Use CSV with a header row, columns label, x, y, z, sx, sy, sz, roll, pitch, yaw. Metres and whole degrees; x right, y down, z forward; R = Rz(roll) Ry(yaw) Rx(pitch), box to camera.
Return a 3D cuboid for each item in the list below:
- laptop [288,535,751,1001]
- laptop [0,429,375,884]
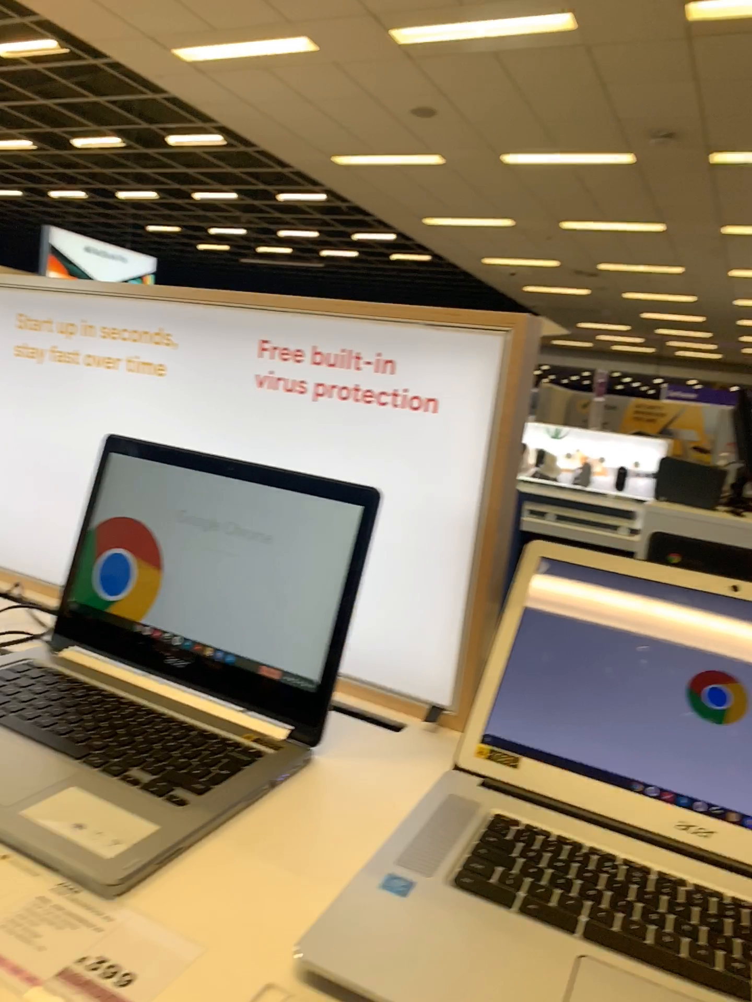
label,x,y,z,sx,sy,sz,roll,pitch,yaw
laptop,0.225,0.171,0.518,0.376,0.175,0.426,11,9,23
laptop,-0.214,0.077,0.622,0.307,0.217,0.278,12,8,24
